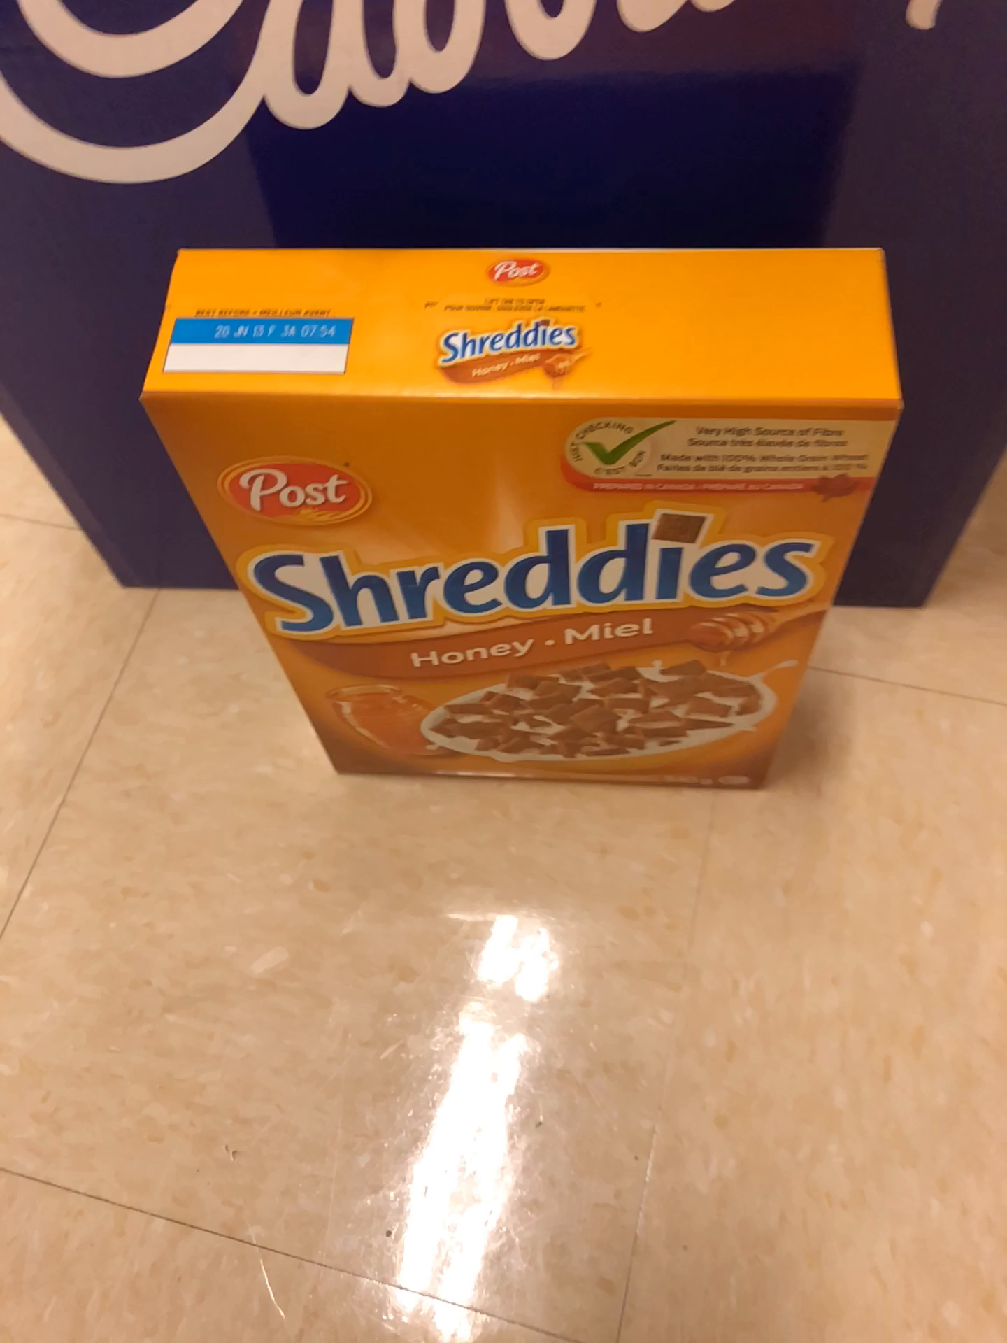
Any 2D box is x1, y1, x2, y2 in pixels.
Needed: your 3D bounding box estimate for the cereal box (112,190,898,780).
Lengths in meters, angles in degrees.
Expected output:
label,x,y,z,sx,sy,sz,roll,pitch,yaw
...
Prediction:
label,x,y,z,sx,sy,sz,roll,pitch,yaw
cereal box,0.009,-0.046,0.435,0.210,0.279,0.070,2,63,5
